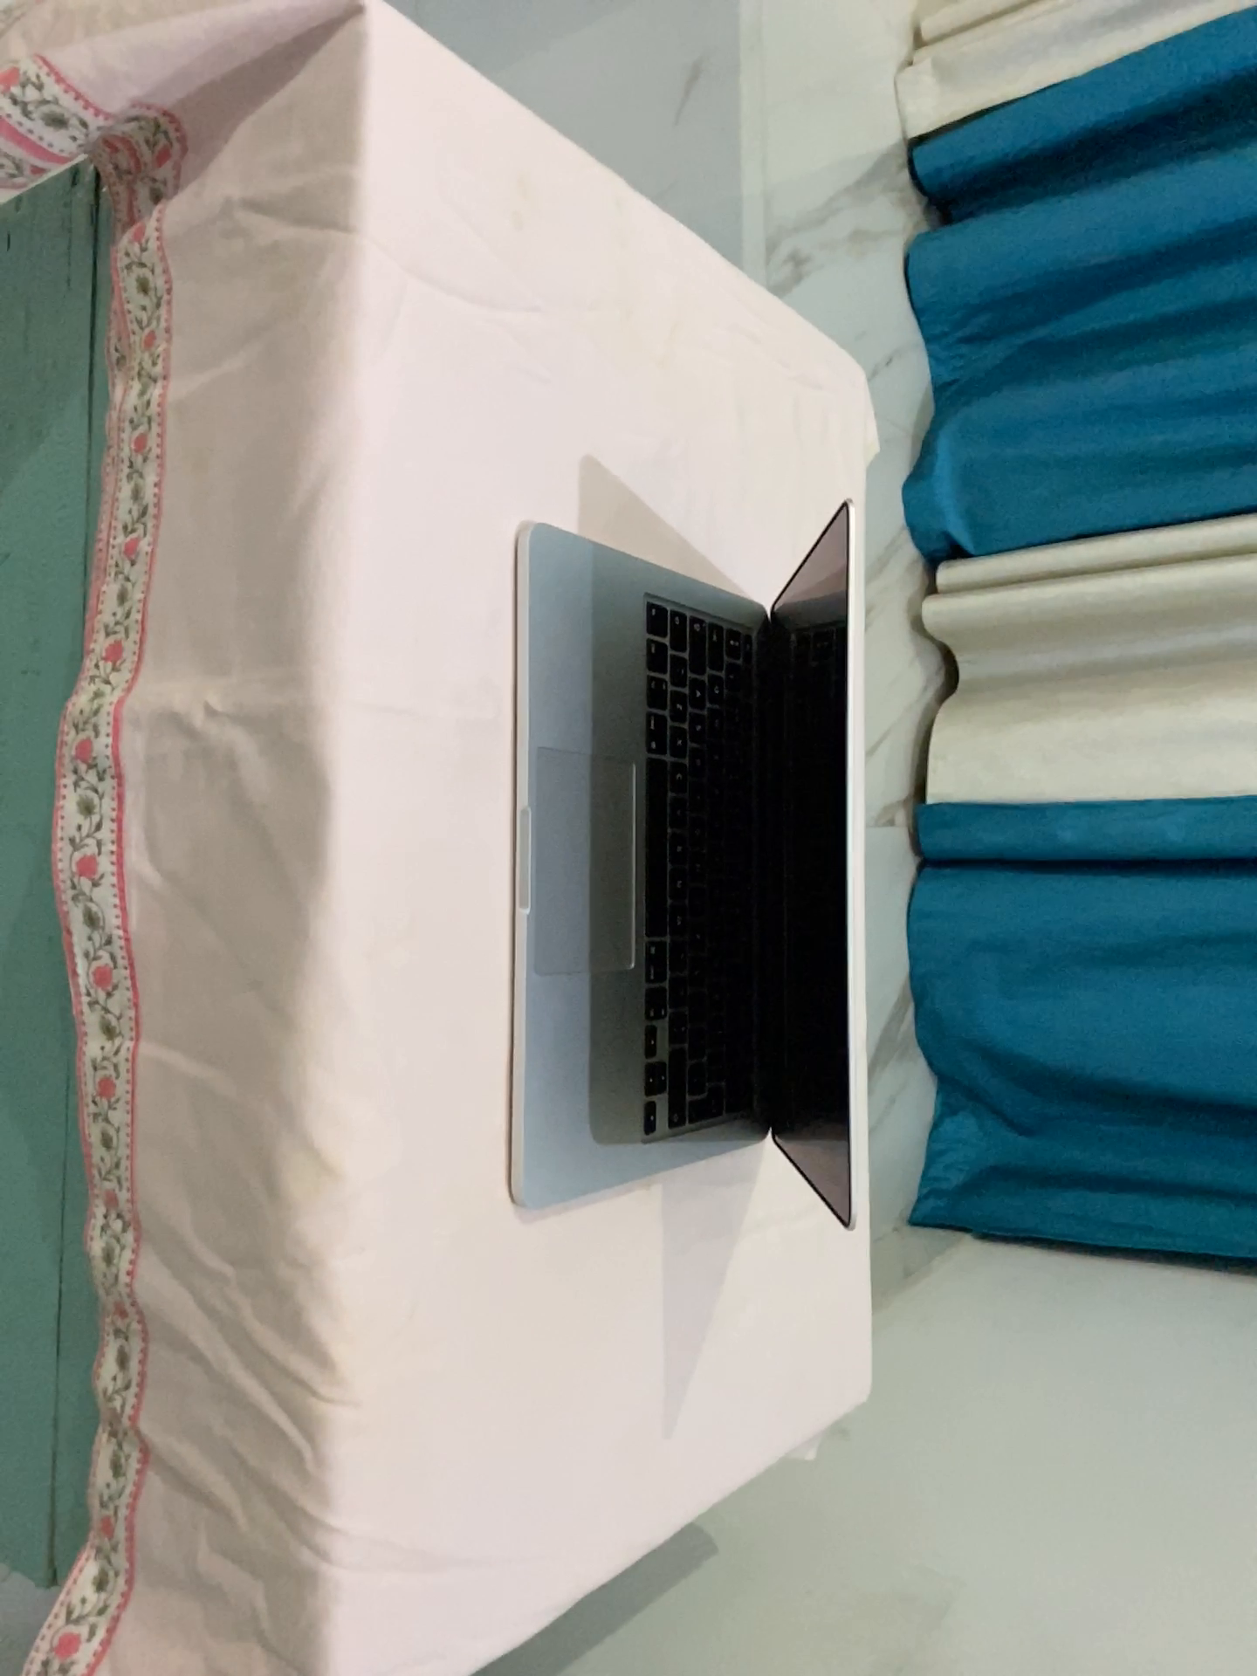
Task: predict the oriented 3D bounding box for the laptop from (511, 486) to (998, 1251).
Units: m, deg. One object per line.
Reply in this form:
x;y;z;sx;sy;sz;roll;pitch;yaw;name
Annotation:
0.070;0.016;0.618;0.209;0.138;0.296;3;87;-52;laptop
